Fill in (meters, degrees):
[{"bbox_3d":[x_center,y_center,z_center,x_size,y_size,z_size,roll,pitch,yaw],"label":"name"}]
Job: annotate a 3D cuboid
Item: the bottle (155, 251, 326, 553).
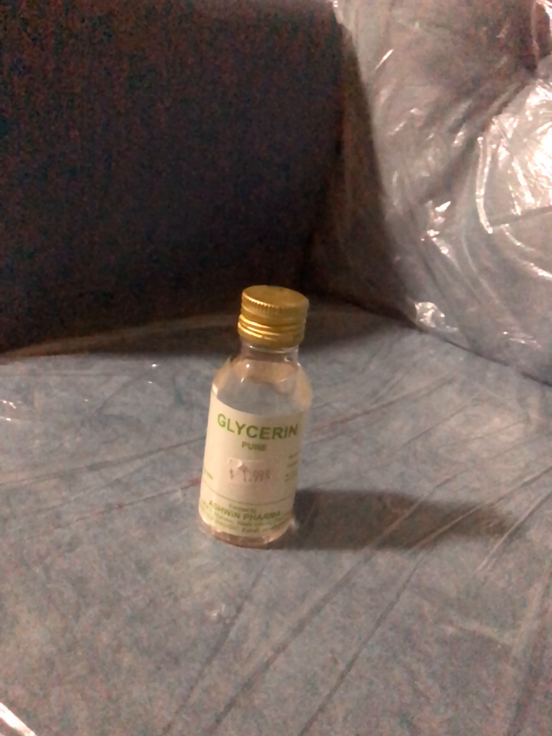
[{"bbox_3d":[-0.014,0.012,0.242,0.050,0.100,0.050,5,24,-2],"label":"bottle"}]
